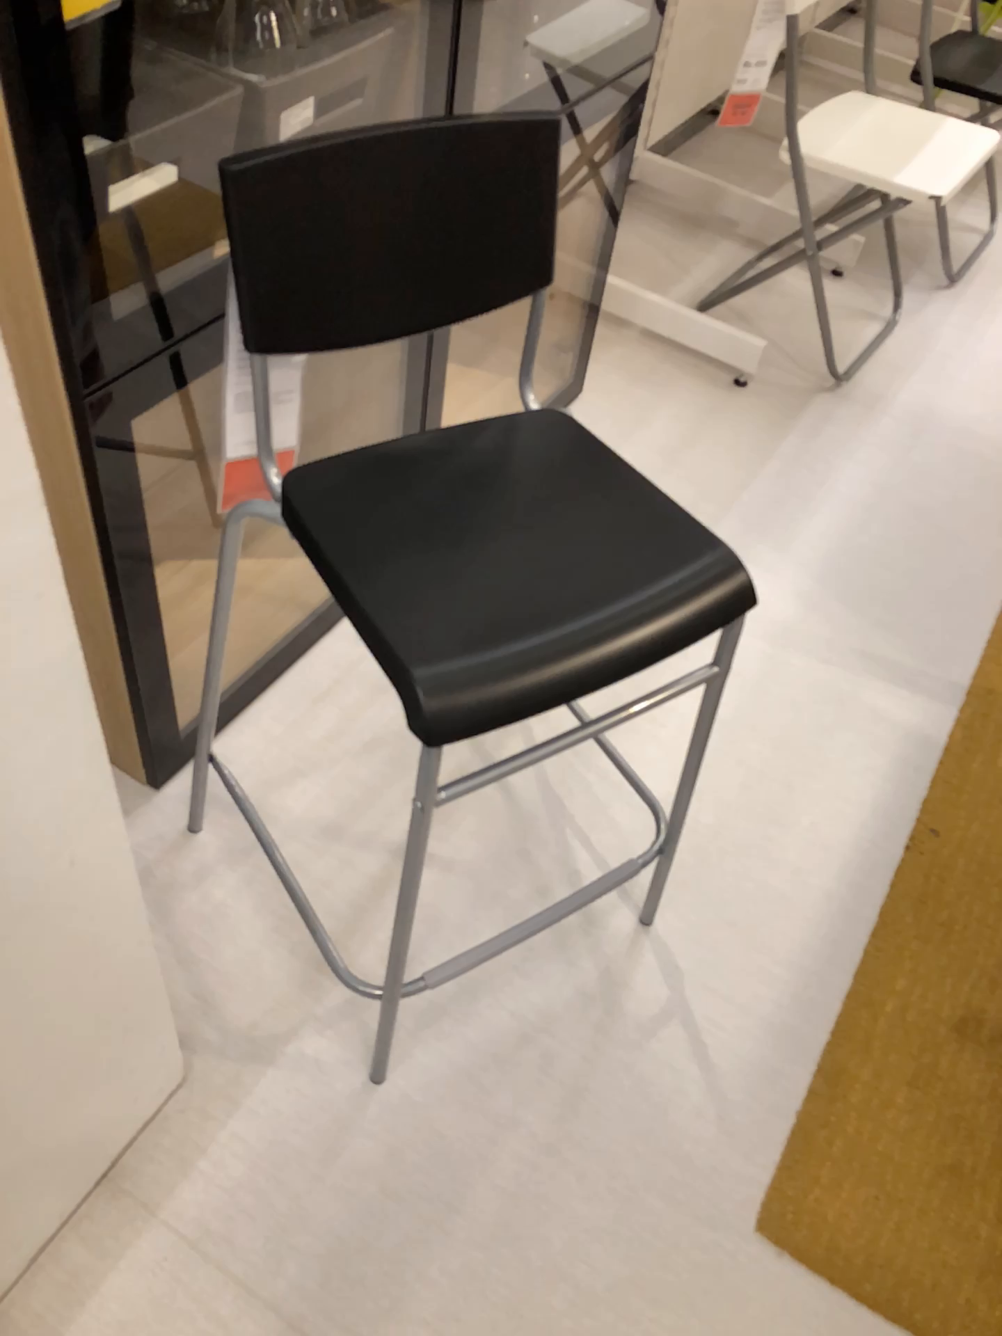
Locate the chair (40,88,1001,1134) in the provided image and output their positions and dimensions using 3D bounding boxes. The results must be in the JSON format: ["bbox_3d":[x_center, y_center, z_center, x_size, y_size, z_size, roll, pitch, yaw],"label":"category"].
[{"bbox_3d":[-0.024,-0.032,1.048,0.541,0.765,0.482,-21,56,-26],"label":"chair"}]
